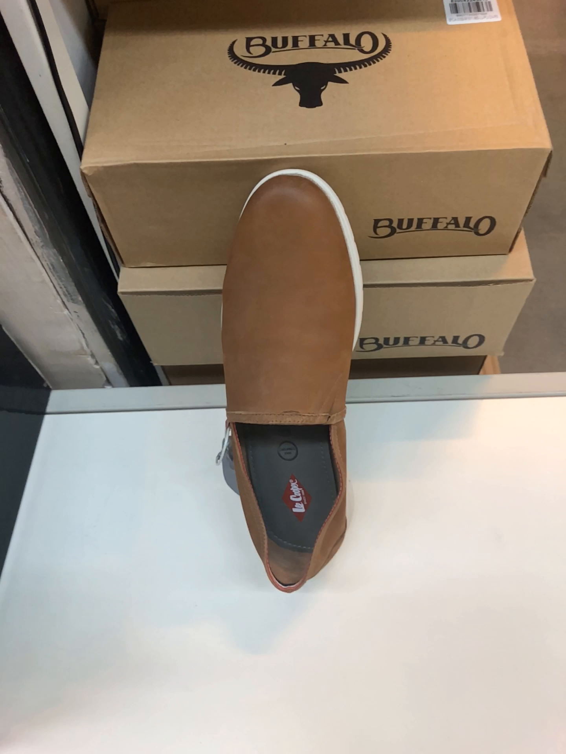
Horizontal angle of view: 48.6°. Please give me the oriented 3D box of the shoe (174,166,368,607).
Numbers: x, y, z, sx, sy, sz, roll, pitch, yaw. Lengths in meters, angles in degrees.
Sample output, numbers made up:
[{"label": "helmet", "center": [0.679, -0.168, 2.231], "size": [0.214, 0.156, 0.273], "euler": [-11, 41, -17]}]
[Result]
[{"label": "shoe", "center": [0.003, -0.002, 0.501], "size": [0.113, 0.310, 0.149], "euler": [2, 17, 11]}]
